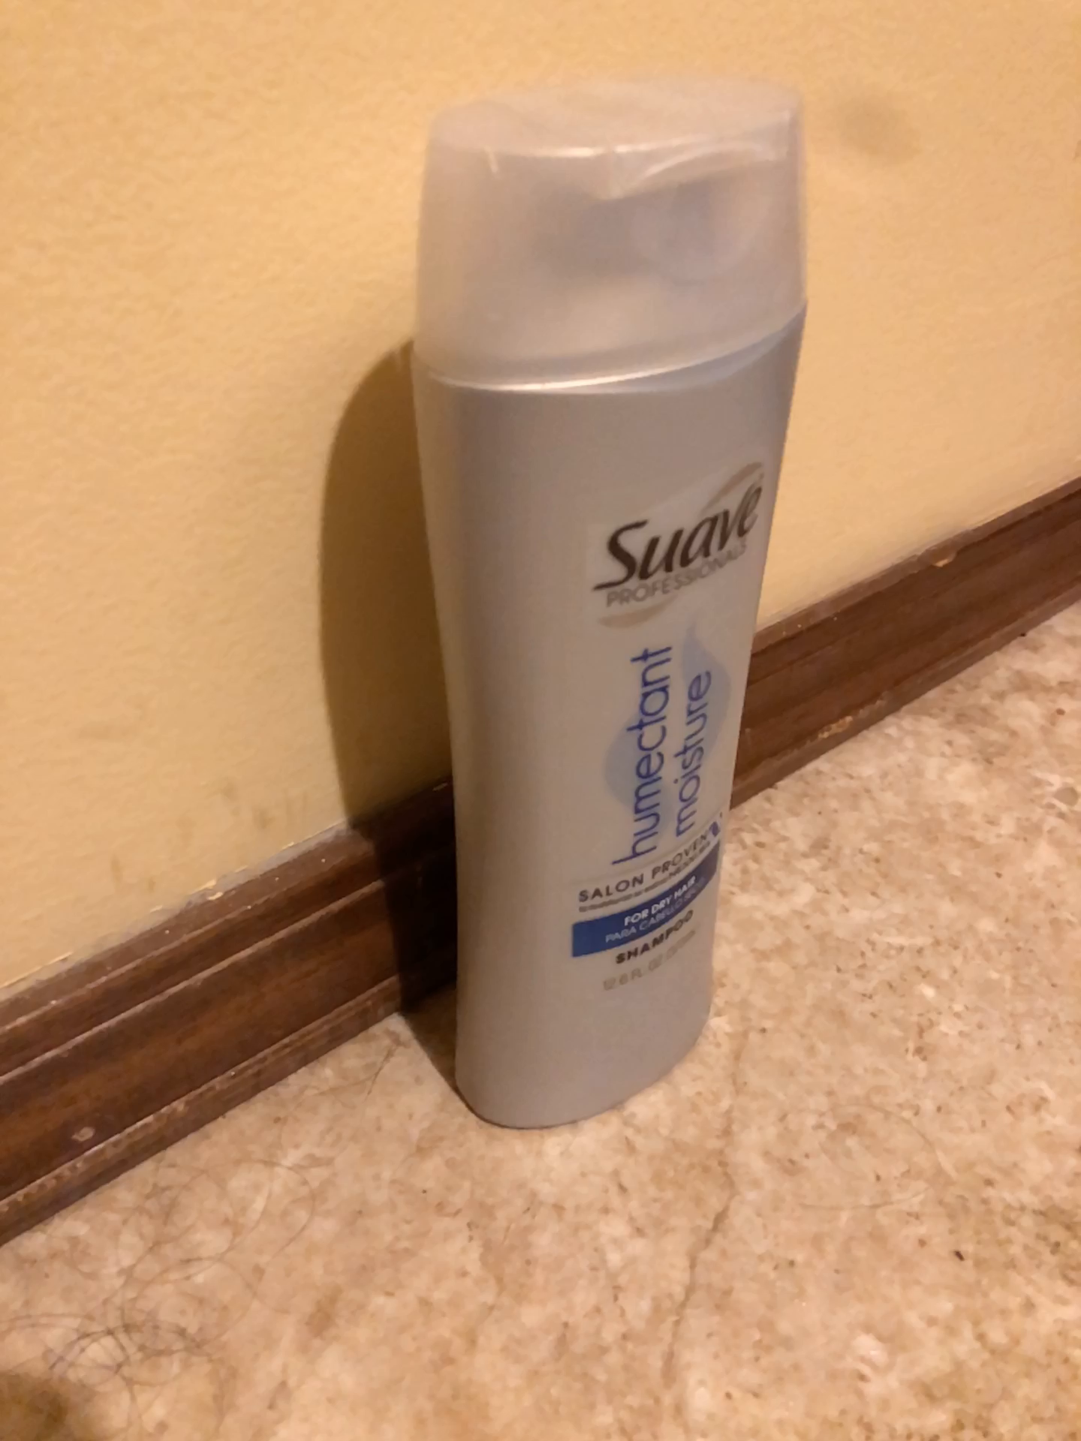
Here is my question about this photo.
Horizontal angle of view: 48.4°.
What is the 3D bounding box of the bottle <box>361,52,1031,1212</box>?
[{"bbox_3d":[0.020,-0.003,0.231,0.080,0.209,0.050,-25,45,-30],"label":"bottle"}]
